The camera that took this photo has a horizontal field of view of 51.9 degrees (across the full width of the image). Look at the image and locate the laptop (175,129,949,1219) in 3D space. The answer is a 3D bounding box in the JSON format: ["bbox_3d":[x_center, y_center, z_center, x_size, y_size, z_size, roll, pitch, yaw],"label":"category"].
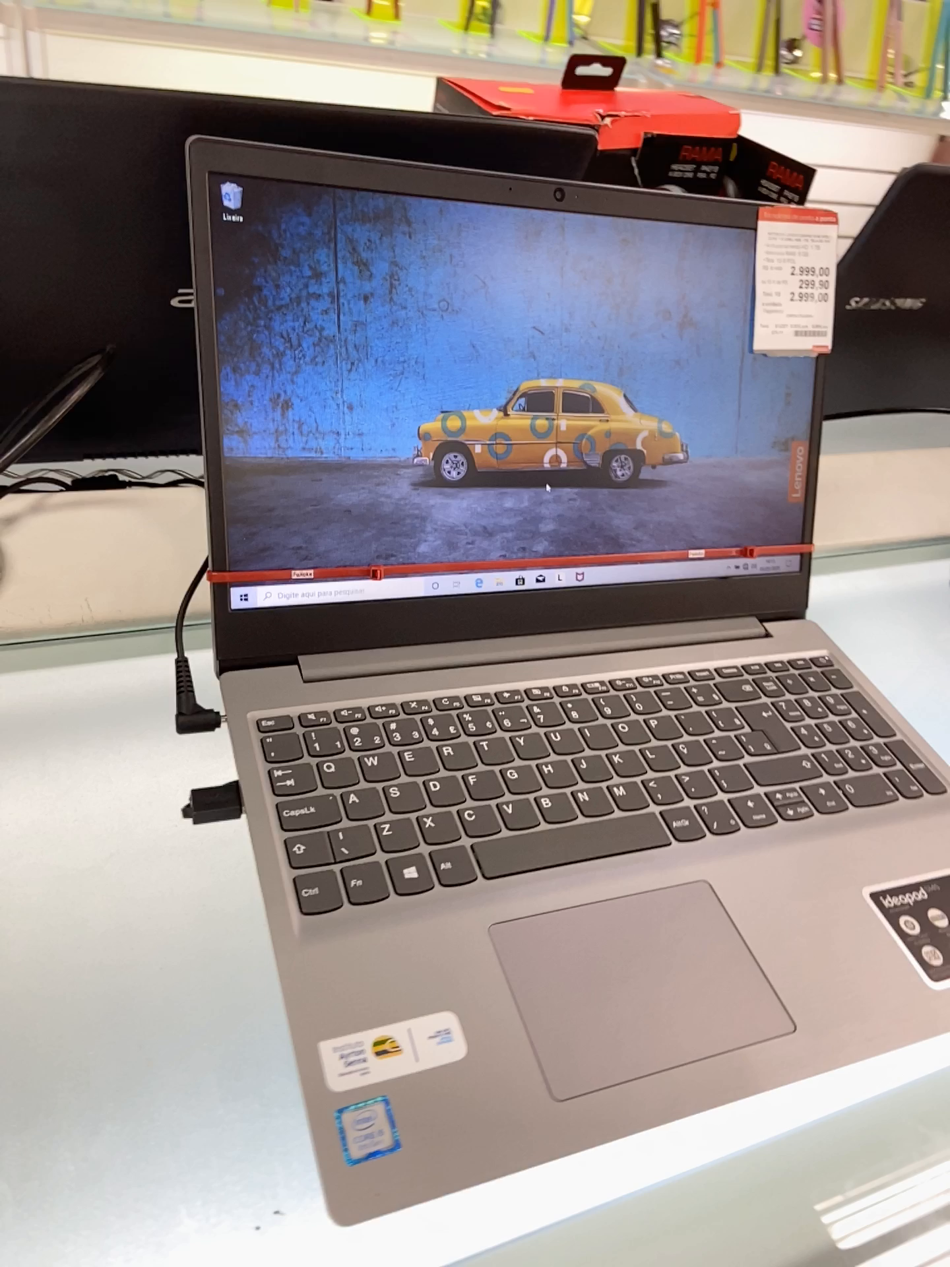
[{"bbox_3d":[0.081,-0.038,0.439,0.369,0.209,0.381,-5,42,-21],"label":"laptop"}]
